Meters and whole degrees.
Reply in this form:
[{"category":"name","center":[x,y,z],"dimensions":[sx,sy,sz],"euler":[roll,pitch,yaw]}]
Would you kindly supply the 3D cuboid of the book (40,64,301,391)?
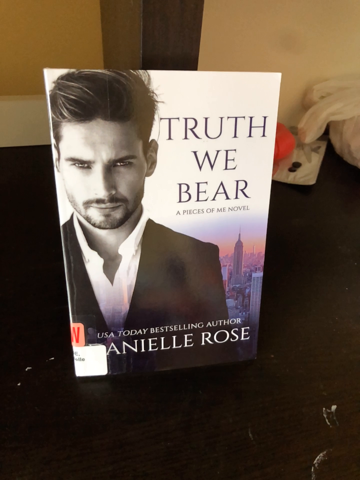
[{"category":"book","center":[-0.004,0.000,0.277],"dimensions":[0.150,0.220,0.020],"euler":[-4,23,-12]}]
